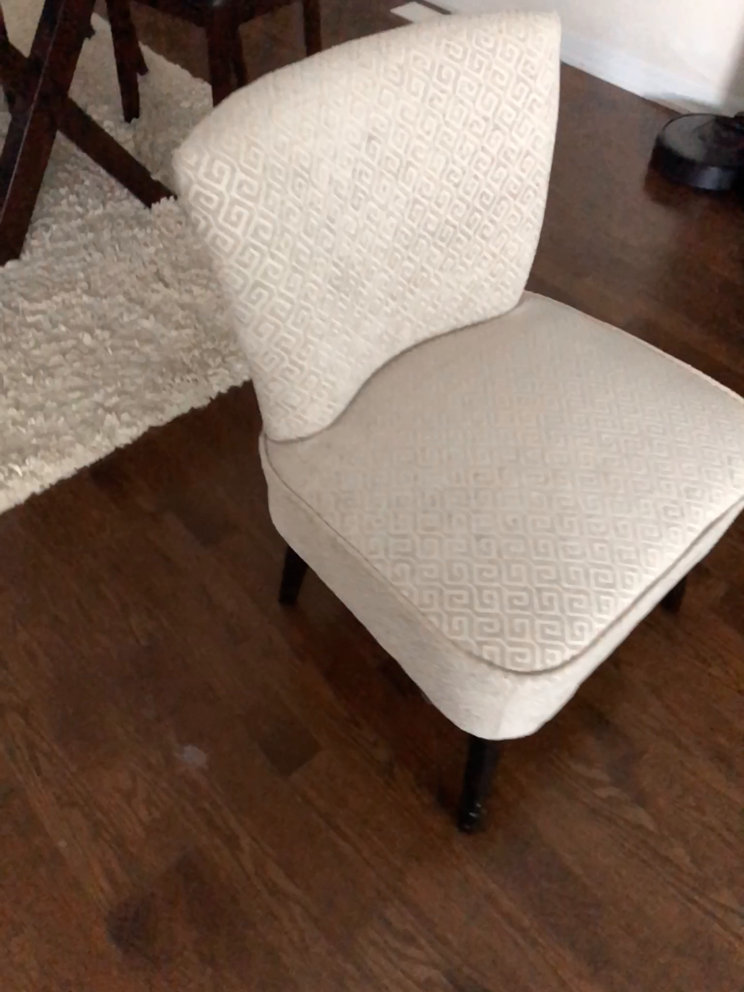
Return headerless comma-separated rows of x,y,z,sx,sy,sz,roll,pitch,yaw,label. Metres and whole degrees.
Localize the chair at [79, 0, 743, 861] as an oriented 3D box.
0.149,-0.108,1.070,0.601,0.797,0.641,-35,60,-28,chair
